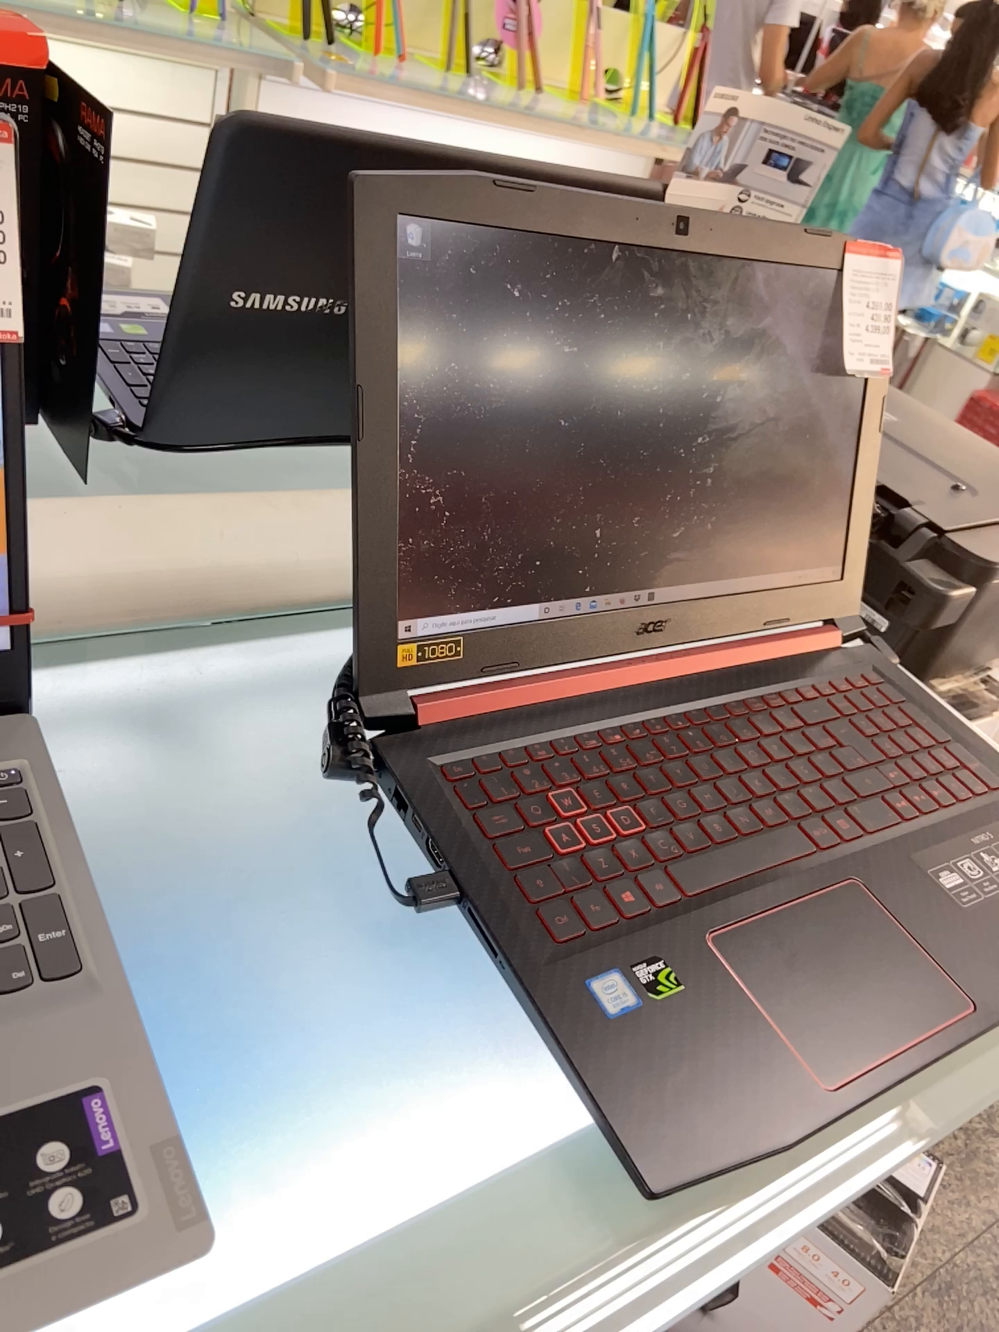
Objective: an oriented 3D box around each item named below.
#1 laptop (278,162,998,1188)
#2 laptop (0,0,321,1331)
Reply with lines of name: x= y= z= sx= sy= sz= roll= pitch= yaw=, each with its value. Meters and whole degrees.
laptop: x=0.152 y=-0.046 z=0.510 sx=0.389 sy=0.218 sz=0.361 roll=-9 pitch=44 yaw=-33
laptop: x=-0.289 y=-0.001 z=0.241 sx=0.355 sy=0.225 sz=0.323 roll=-8 pitch=43 yaw=-36
